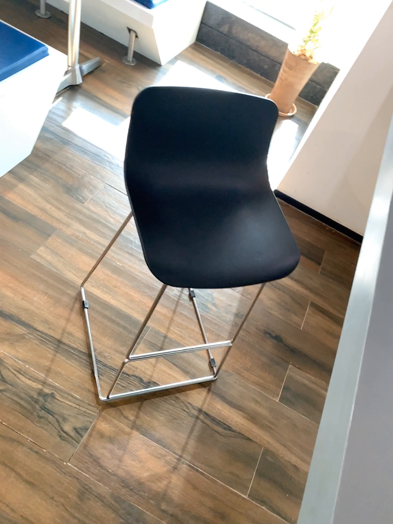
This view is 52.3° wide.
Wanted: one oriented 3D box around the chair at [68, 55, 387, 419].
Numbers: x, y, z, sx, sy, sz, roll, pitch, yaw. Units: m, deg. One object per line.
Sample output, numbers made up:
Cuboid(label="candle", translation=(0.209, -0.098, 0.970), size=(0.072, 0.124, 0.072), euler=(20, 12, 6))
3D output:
Cuboid(label="chair", translation=(-0.058, -0.007, 1.204), size=(0.541, 0.864, 0.593), euler=(-5, 57, -23))
